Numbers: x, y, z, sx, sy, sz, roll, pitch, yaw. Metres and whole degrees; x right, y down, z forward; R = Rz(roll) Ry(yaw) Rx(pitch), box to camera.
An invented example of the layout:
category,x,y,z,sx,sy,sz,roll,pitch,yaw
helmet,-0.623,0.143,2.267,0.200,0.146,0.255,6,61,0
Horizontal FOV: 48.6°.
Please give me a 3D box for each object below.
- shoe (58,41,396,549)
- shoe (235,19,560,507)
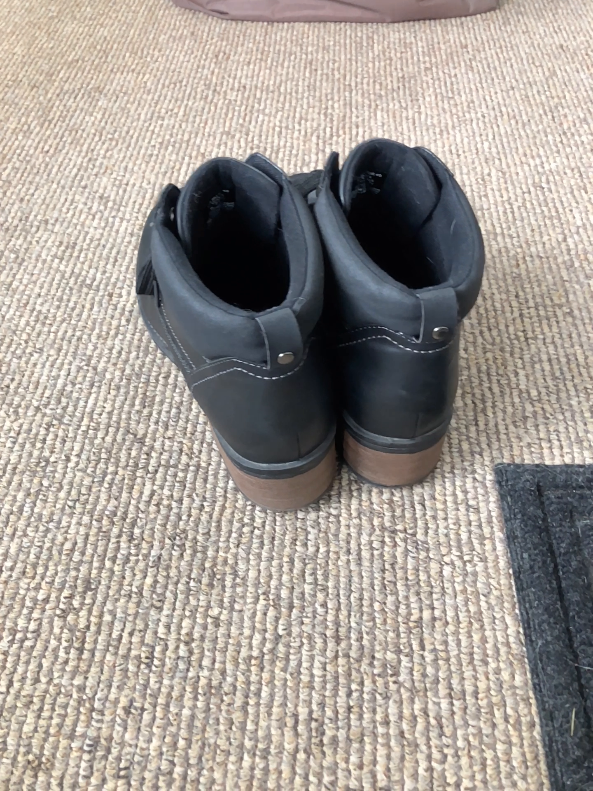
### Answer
category,x,y,z,sx,sy,sz,roll,pitch,yaw
shoe,-0.054,-0.073,0.411,0.097,0.165,0.268,-18,54,-14
shoe,0.037,-0.096,0.424,0.095,0.162,0.274,-10,52,-8
